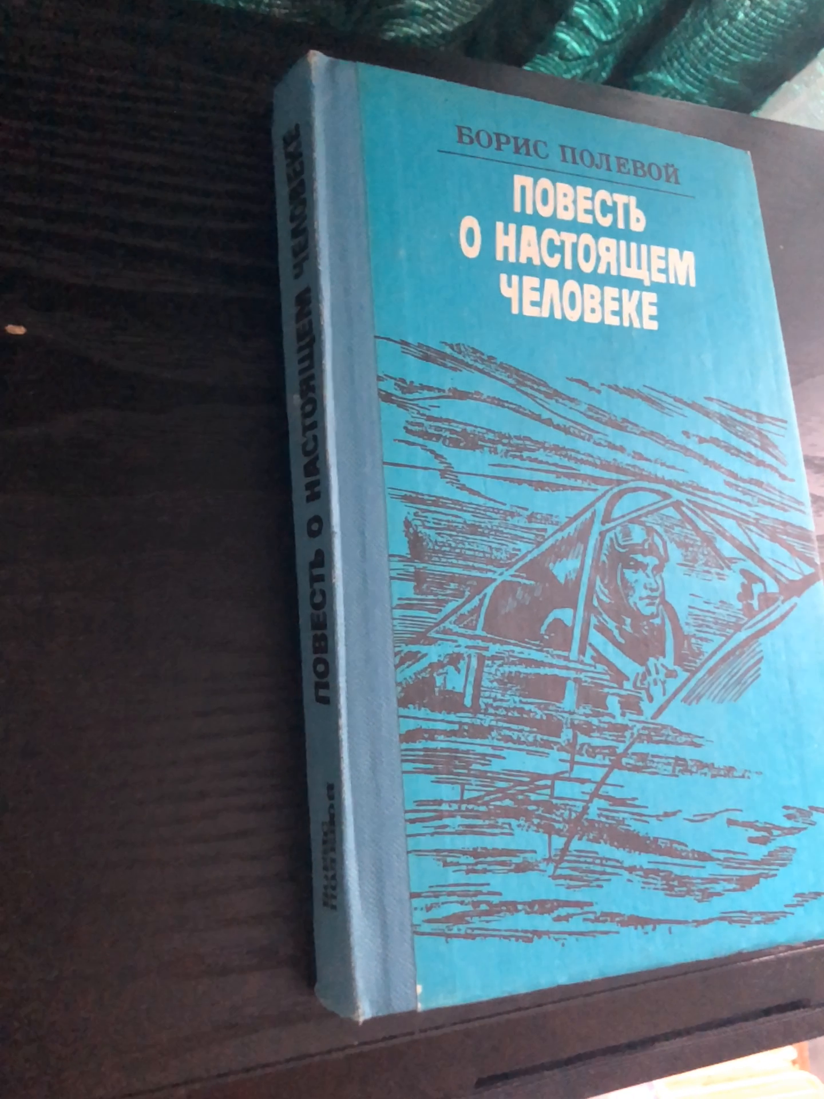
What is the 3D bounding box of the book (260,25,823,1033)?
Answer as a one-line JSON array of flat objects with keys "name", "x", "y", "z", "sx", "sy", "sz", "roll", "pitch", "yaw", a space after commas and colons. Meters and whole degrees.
[{"name": "book", "x": 0.034, "y": -0.012, "z": 0.201, "sx": 0.123, "sy": 0.019, "sz": 0.190, "roll": 0, "pitch": 77, "yaw": -22}]
